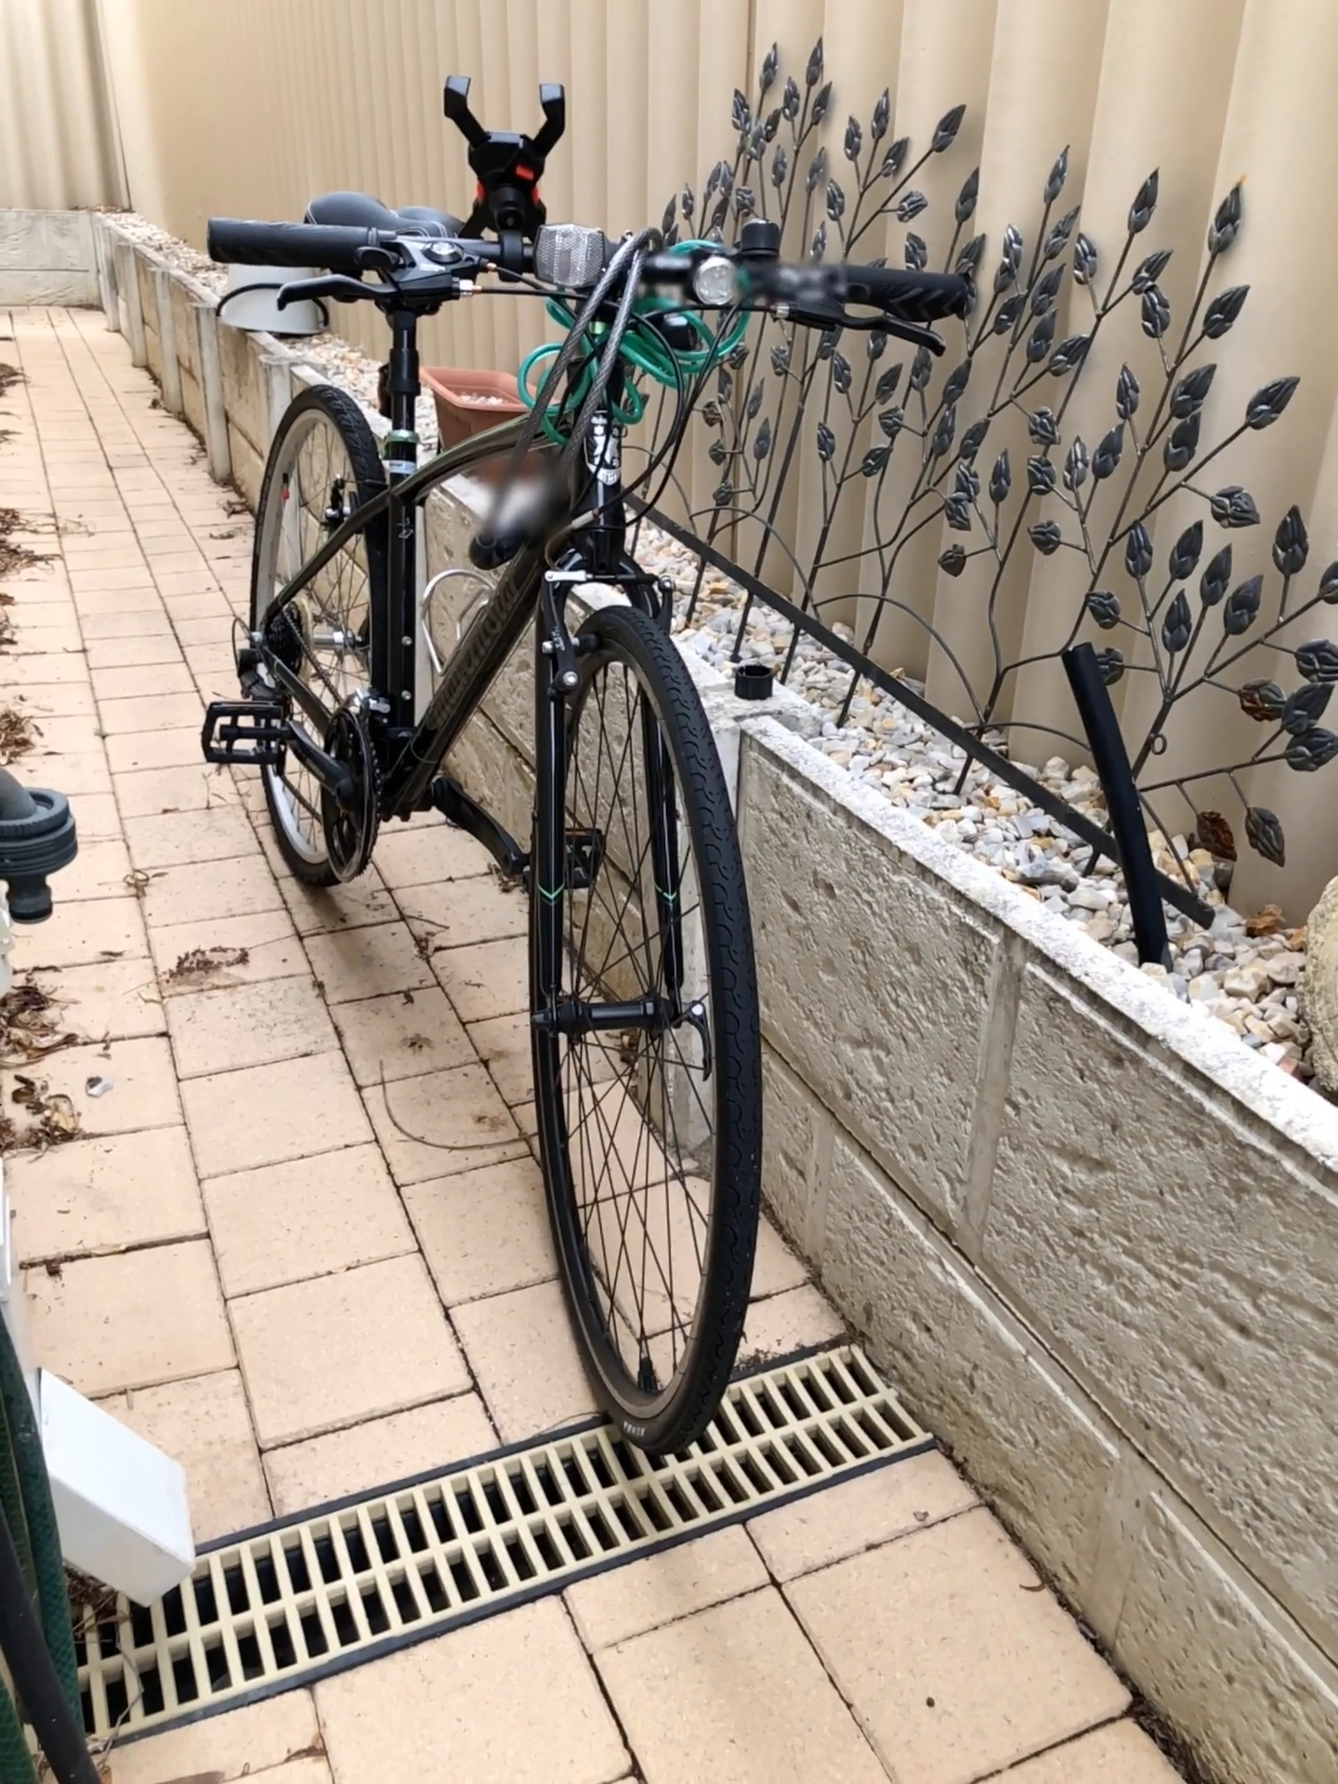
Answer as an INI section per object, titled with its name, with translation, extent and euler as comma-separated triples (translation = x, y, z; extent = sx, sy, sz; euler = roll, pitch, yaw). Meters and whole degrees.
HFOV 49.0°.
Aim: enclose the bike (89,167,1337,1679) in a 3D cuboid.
[bike]
translation = -0.171, -0.276, 1.589
extent = 0.638, 0.859, 1.704
euler = -9, 29, -22
